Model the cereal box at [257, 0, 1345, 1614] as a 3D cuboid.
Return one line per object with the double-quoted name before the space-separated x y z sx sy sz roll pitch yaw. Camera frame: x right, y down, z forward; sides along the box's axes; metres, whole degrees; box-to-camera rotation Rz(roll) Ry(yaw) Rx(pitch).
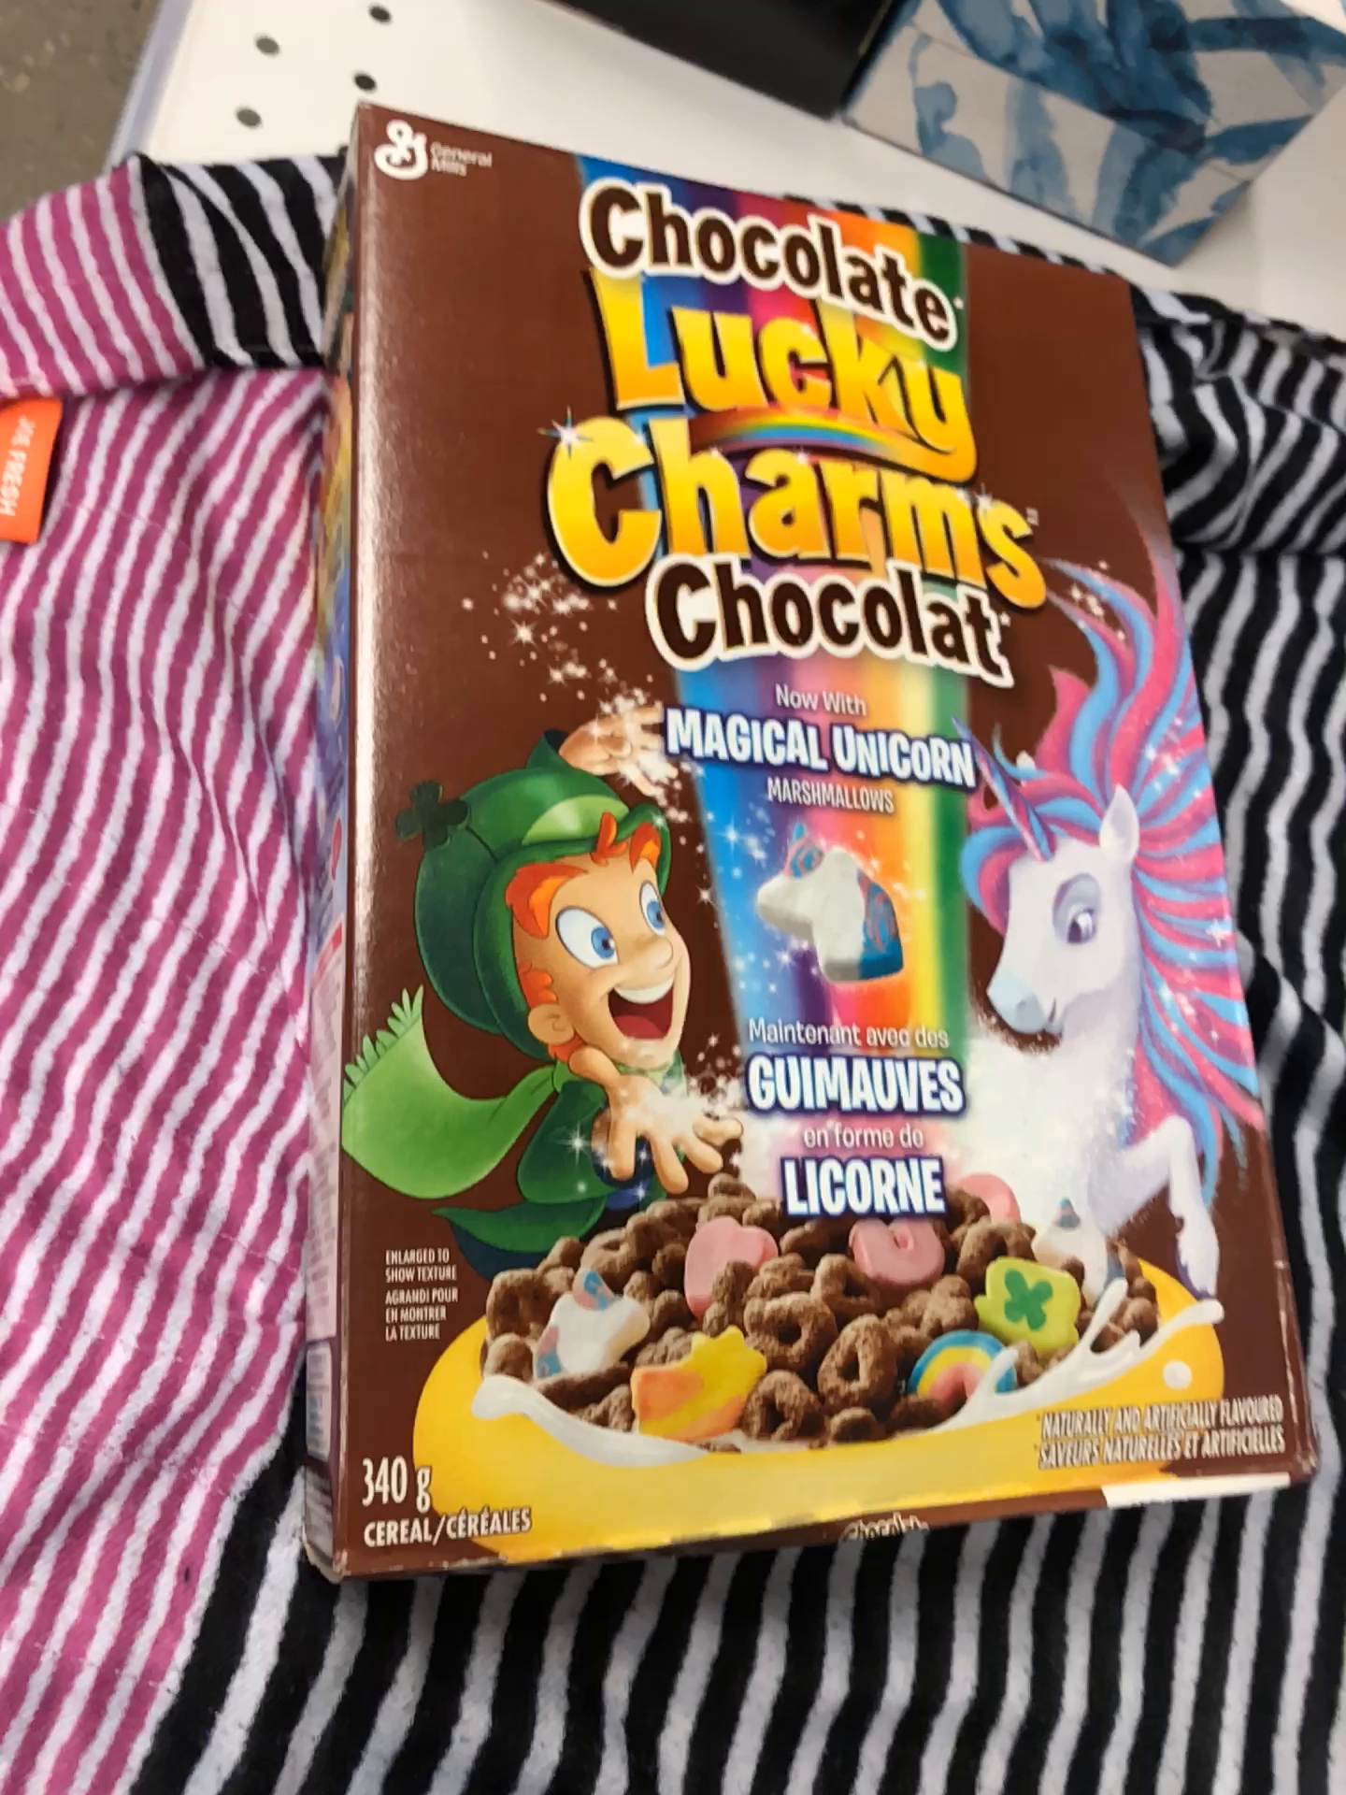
"cereal box" 0.028 -0.024 0.318 0.210 0.060 0.290 3 74 -20
